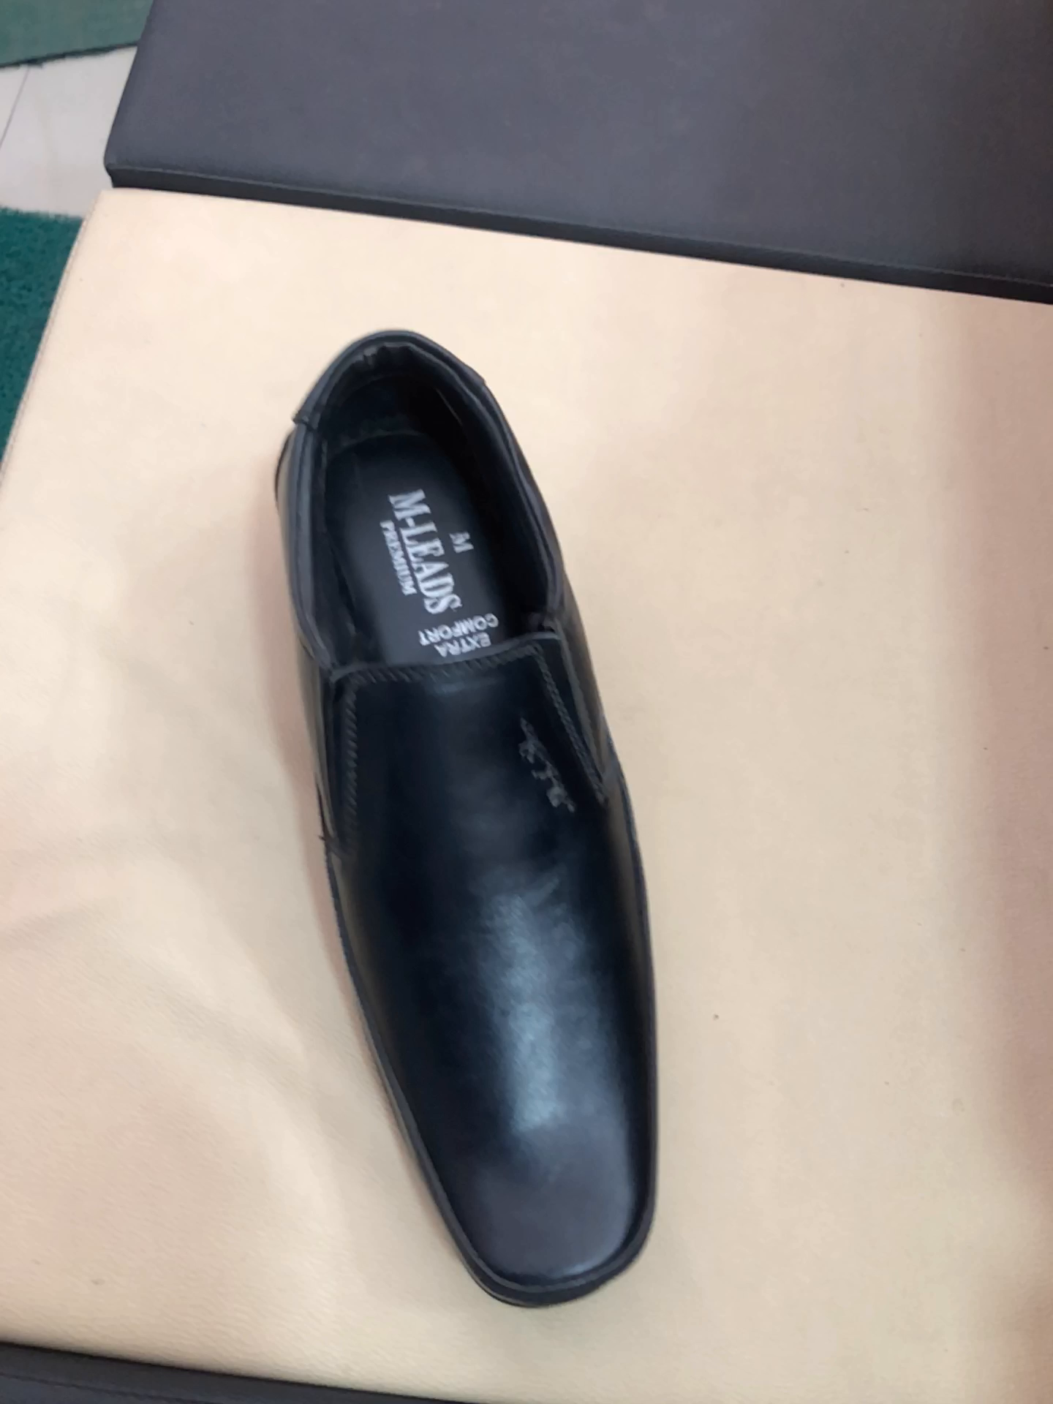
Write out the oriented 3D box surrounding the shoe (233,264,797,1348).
[{"bbox_3d":[-0.017,0.015,0.360,0.100,0.080,0.300,-9,68,-8],"label":"shoe"}]
